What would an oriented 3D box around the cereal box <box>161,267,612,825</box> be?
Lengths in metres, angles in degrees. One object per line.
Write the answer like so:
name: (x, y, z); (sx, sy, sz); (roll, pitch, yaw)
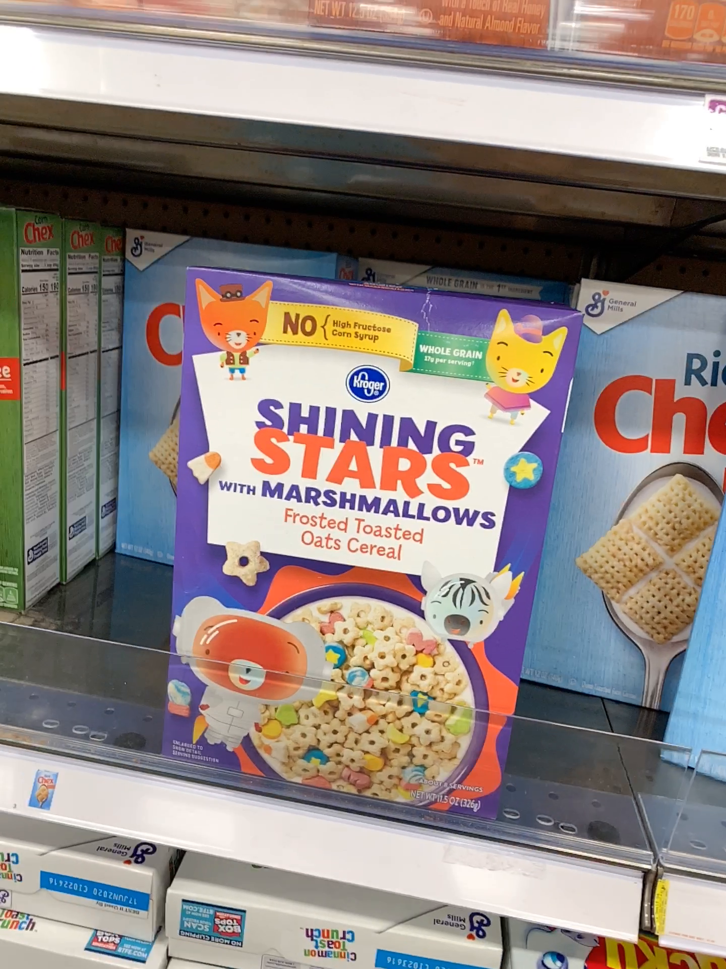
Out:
cereal box: (0.003, 0.034, 0.403); (0.200, 0.269, 0.050); (7, 13, 5)
